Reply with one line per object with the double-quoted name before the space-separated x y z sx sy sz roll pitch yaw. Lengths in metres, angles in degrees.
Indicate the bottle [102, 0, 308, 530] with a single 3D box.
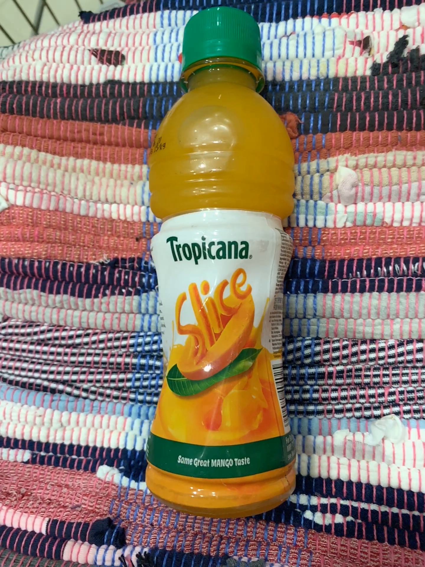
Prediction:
"bottle" 0.003 -0.021 0.170 0.060 0.050 0.190 1 82 10
